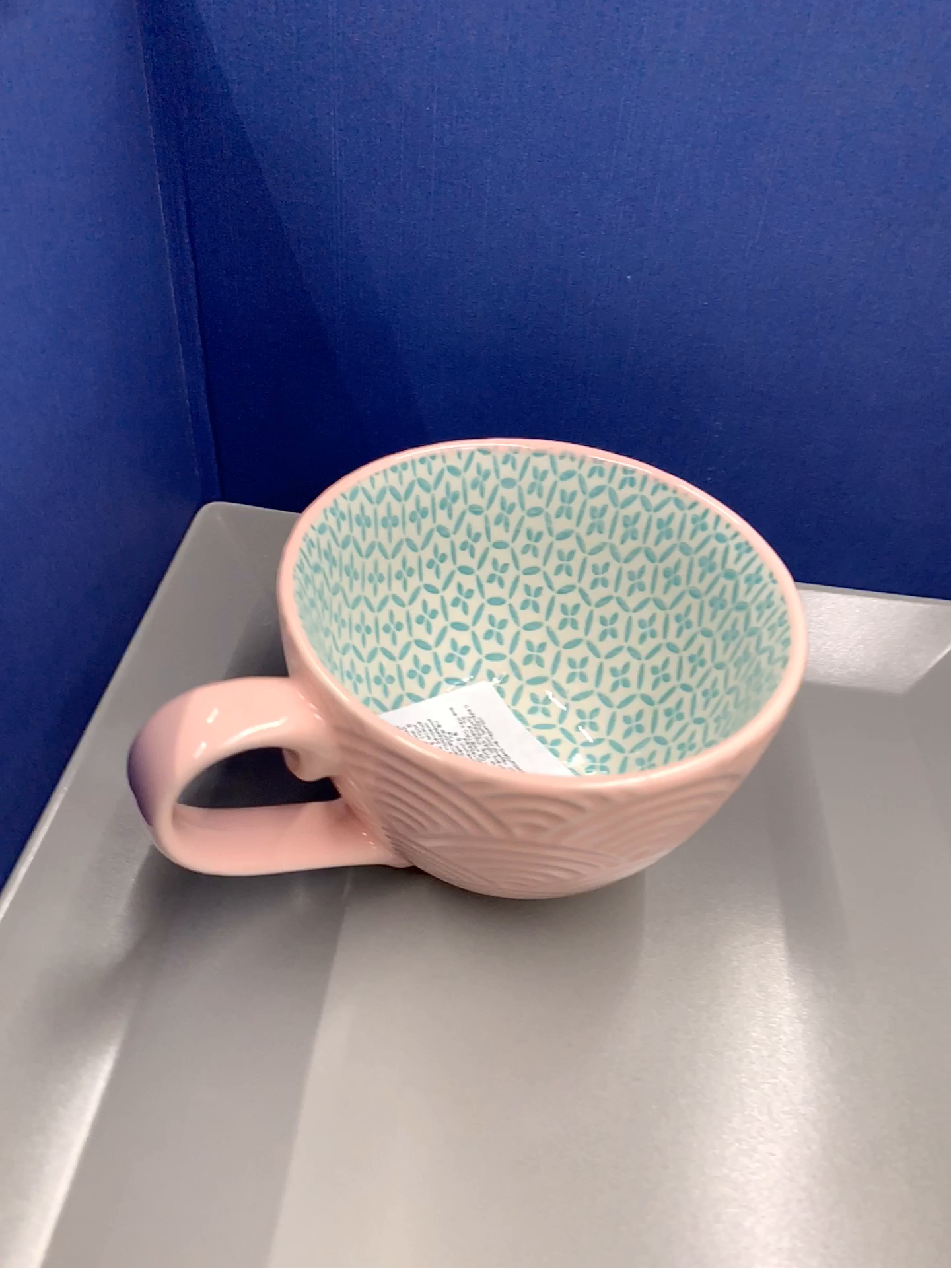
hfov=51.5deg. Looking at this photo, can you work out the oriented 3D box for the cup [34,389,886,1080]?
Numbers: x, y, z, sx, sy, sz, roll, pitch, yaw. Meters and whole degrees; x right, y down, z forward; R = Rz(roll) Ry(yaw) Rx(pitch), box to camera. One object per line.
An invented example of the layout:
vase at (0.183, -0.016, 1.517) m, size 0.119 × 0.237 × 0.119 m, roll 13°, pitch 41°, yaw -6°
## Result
cup at (-0.007, 0.011, 0.231) m, size 0.150 × 0.064 × 0.105 m, roll -16°, pitch 54°, yaw -23°
